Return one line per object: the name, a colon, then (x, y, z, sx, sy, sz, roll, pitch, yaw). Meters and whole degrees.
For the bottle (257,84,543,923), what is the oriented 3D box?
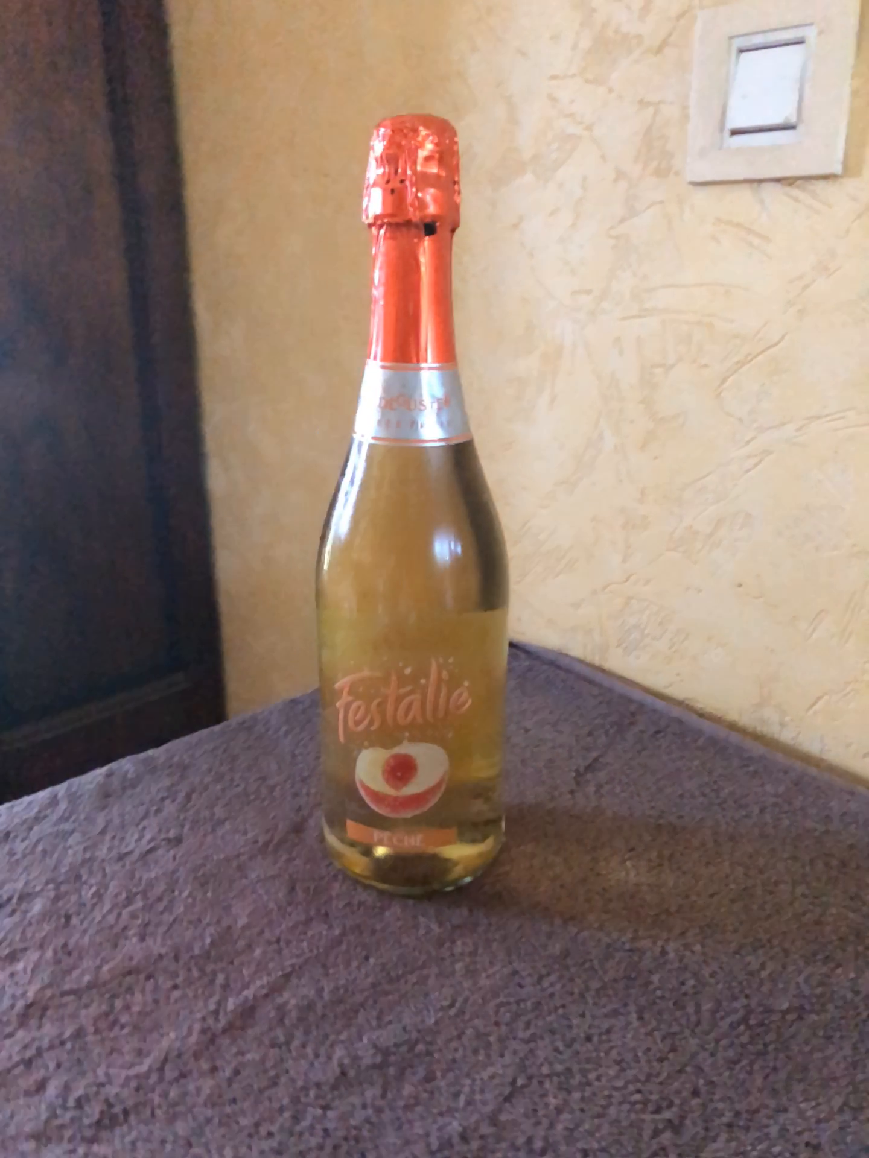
bottle: (-0.006, -0.022, 0.392, 0.090, 0.309, 0.090, 0, 18, 0)
